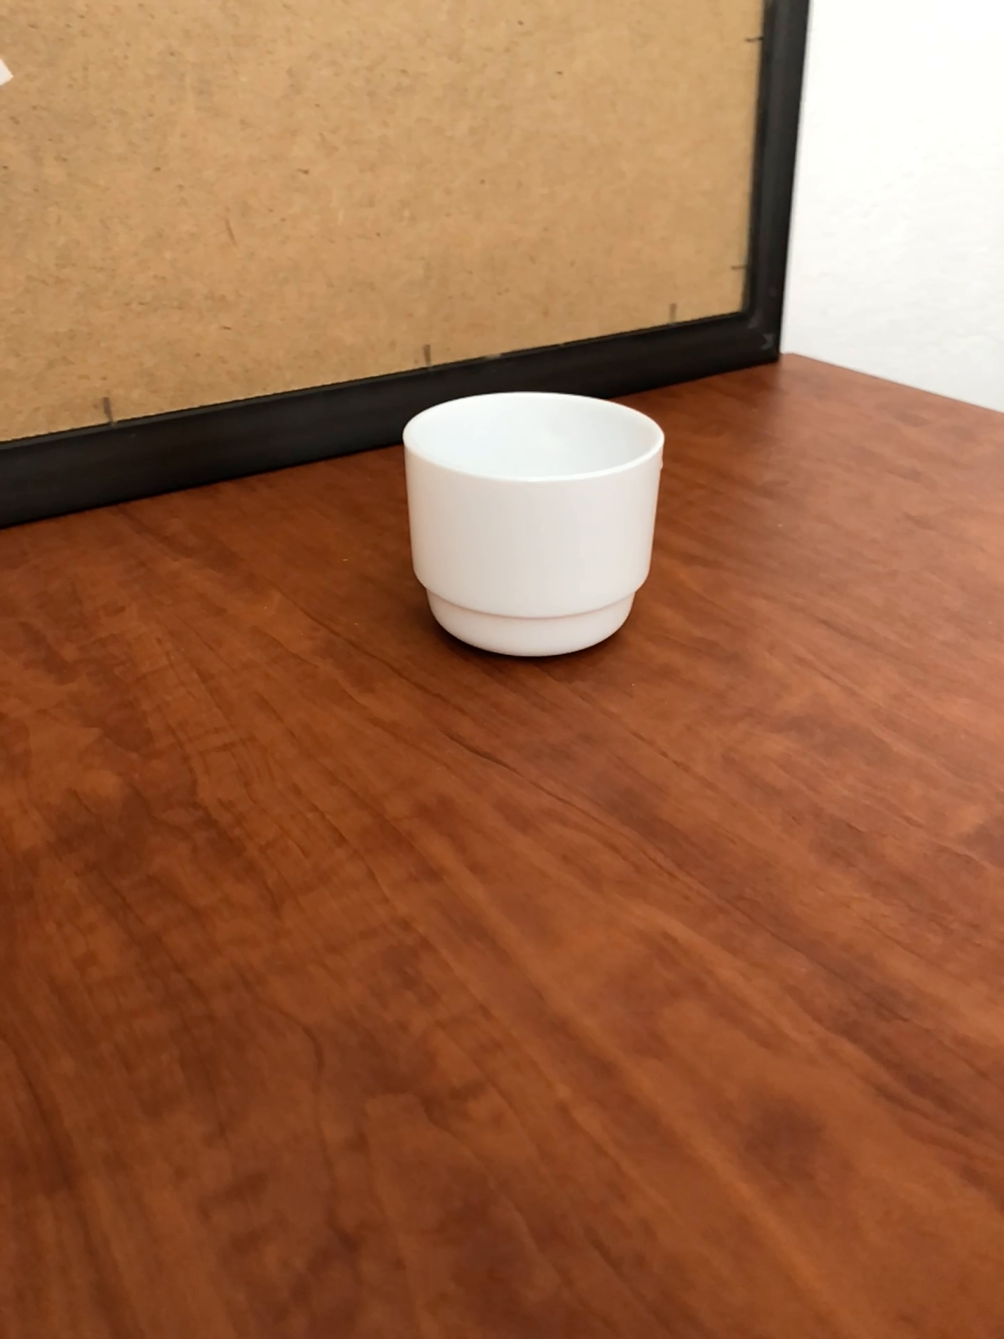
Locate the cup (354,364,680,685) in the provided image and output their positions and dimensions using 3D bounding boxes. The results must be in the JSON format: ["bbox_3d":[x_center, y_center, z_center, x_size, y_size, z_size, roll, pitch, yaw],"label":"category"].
[{"bbox_3d":[0.011,-0.055,0.375,0.086,0.060,0.120,6,30,9],"label":"cup"}]
